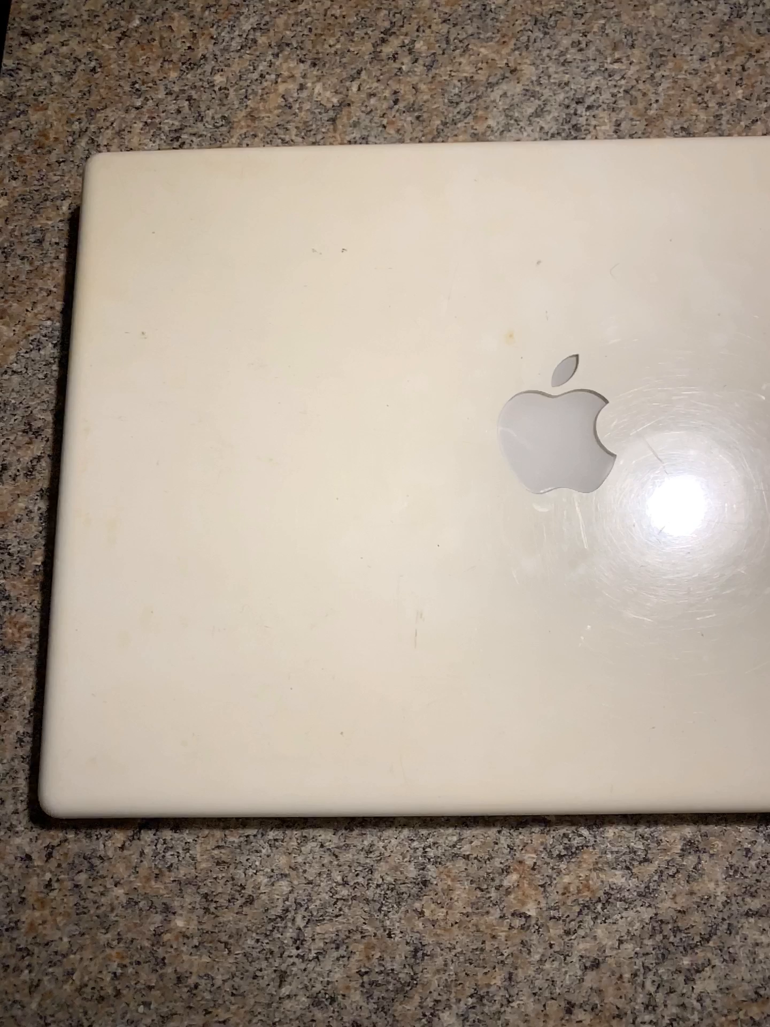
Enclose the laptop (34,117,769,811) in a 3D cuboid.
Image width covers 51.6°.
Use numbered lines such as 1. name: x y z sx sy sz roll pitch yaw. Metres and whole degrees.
1. laptop: 0.051 -0.021 0.239 0.305 0.002 0.205 -1 77 5
